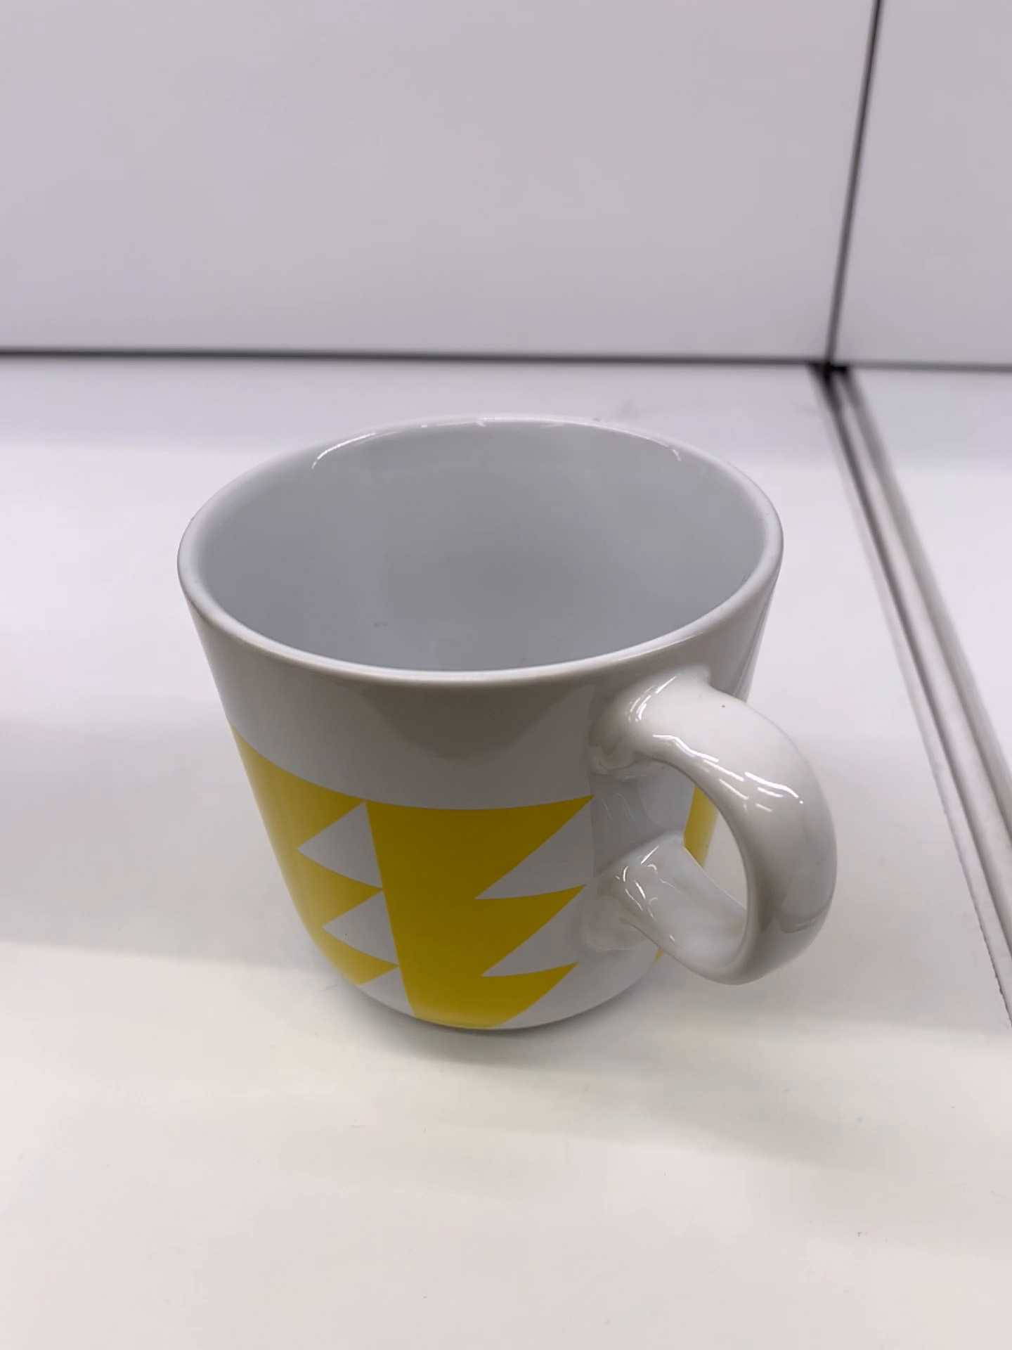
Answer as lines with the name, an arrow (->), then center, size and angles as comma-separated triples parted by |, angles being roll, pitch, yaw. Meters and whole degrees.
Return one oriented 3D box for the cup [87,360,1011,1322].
cup -> 0.003, 0.007, 0.157 | 0.084, 0.065, 0.108 | -20, 37, -26
